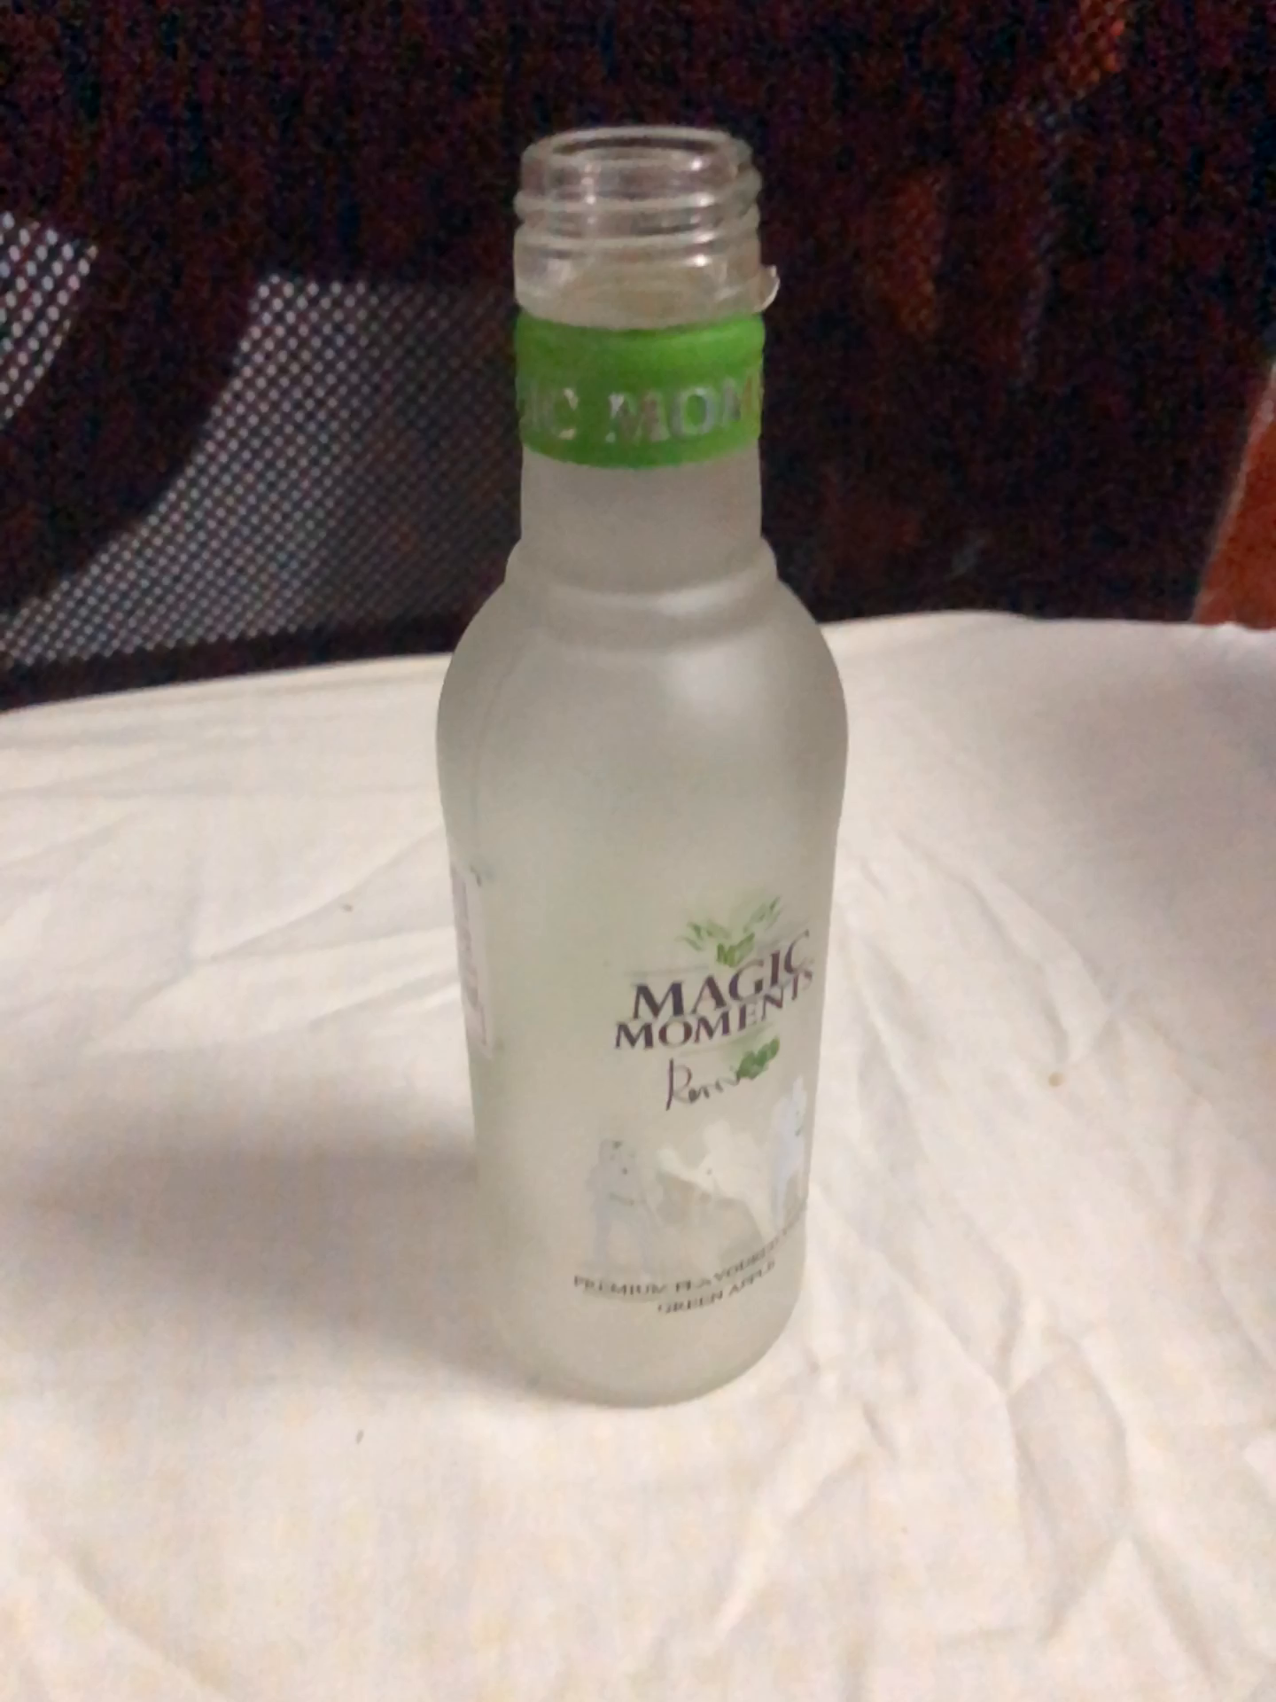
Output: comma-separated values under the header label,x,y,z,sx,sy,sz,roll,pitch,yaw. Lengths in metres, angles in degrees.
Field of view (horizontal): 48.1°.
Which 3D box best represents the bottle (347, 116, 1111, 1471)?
label,x,y,z,sx,sy,sz,roll,pitch,yaw
bottle,0.005,0.002,0.189,0.060,0.169,0.050,-12,37,-18
